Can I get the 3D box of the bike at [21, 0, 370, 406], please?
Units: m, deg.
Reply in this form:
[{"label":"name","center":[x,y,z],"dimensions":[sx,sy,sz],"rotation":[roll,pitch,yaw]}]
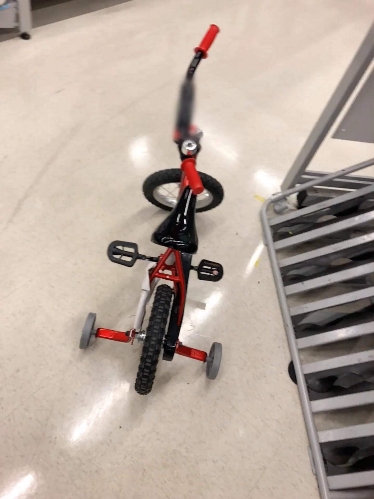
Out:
[{"label":"bike","center":[-0.056,-0.067,1.077],"dimensions":[0.531,0.678,0.702],"rotation":[6,54,-11]}]
